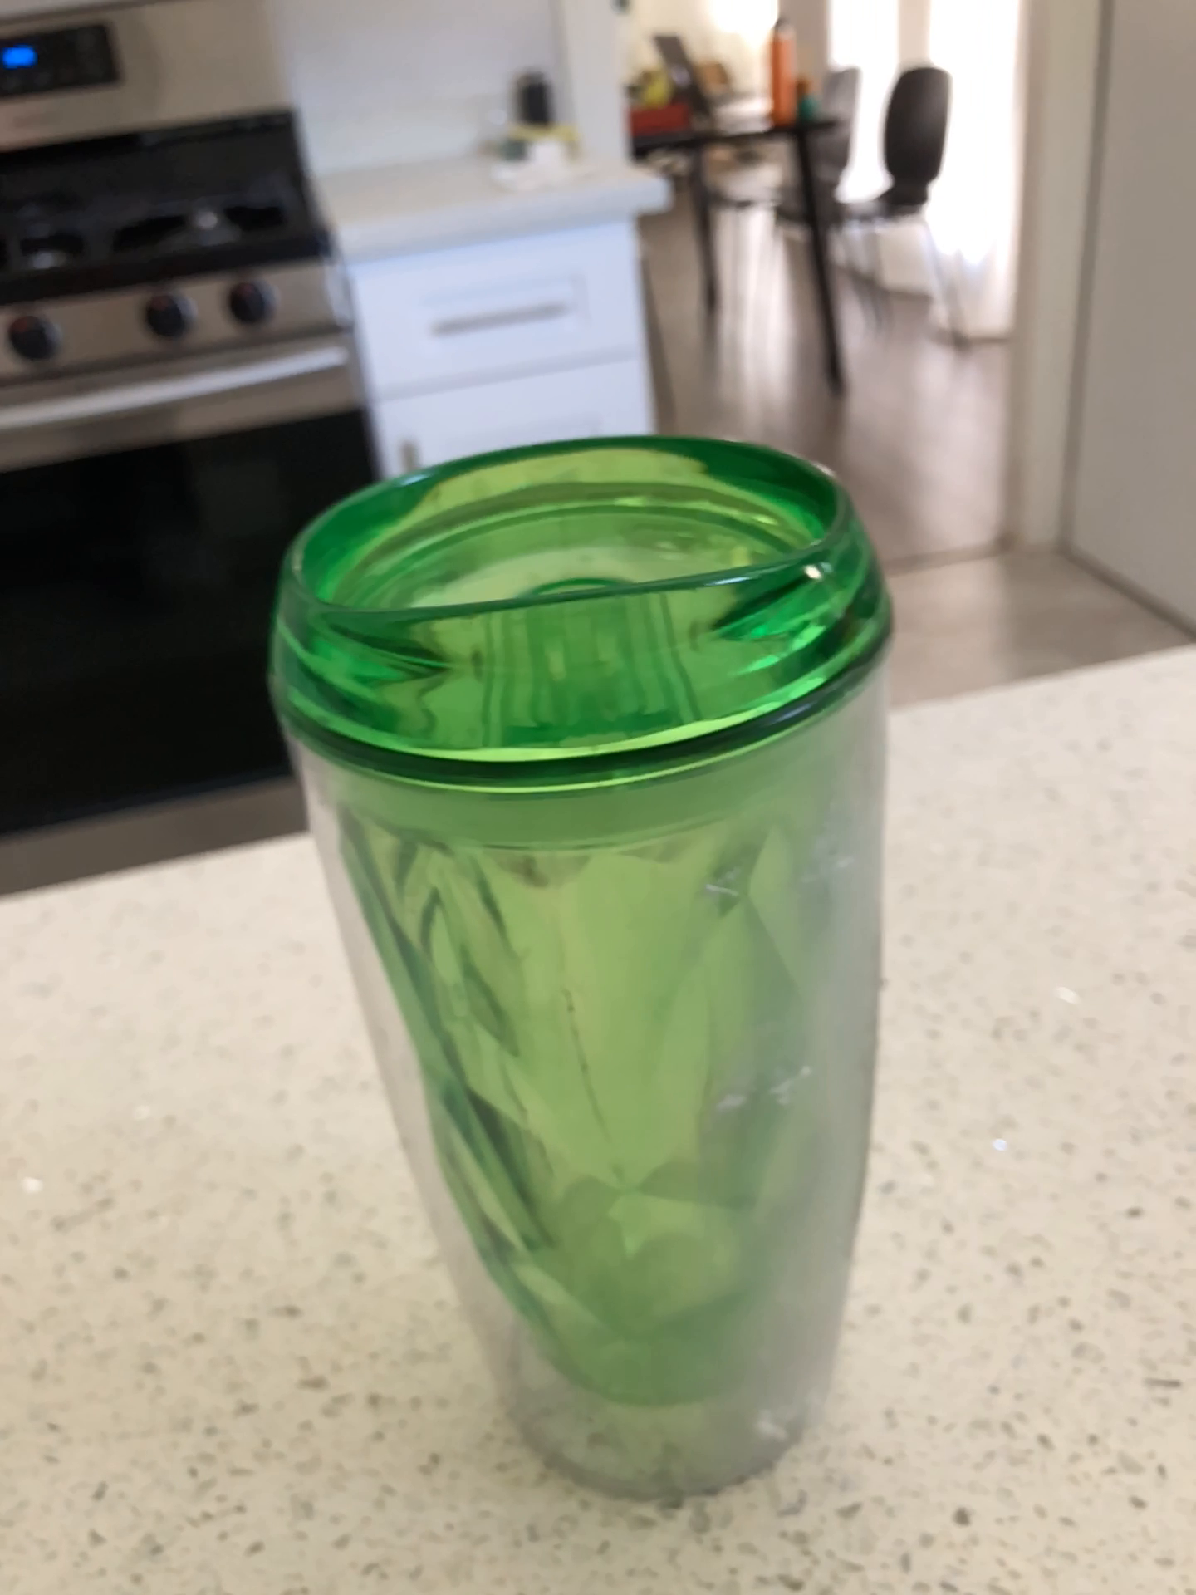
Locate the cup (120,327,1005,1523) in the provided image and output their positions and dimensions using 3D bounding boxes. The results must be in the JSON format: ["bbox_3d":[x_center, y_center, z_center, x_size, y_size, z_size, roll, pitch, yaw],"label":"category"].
[{"bbox_3d":[0.004,0.022,0.216,0.090,0.159,0.090,-5,30,3],"label":"cup"}]
